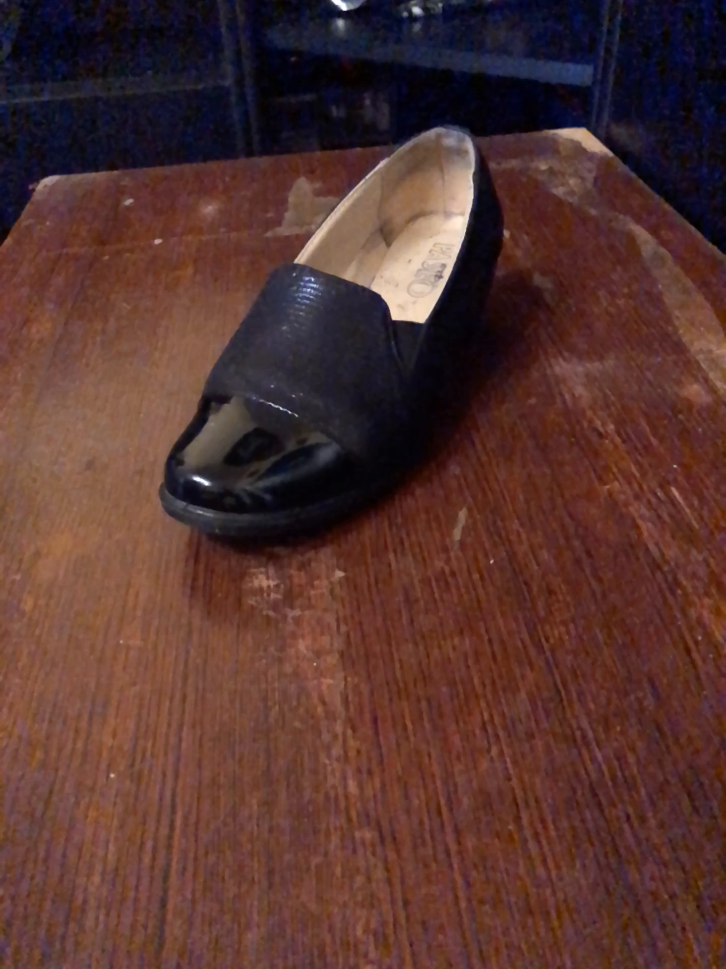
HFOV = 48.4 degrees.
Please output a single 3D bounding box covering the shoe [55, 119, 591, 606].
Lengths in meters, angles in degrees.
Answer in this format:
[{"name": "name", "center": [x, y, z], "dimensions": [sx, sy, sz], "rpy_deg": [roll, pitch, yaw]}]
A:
[{"name": "shoe", "center": [0.004, -0.071, 0.338], "dimensions": [0.090, 0.070, 0.237], "rpy_deg": [20, 49, 27]}]
